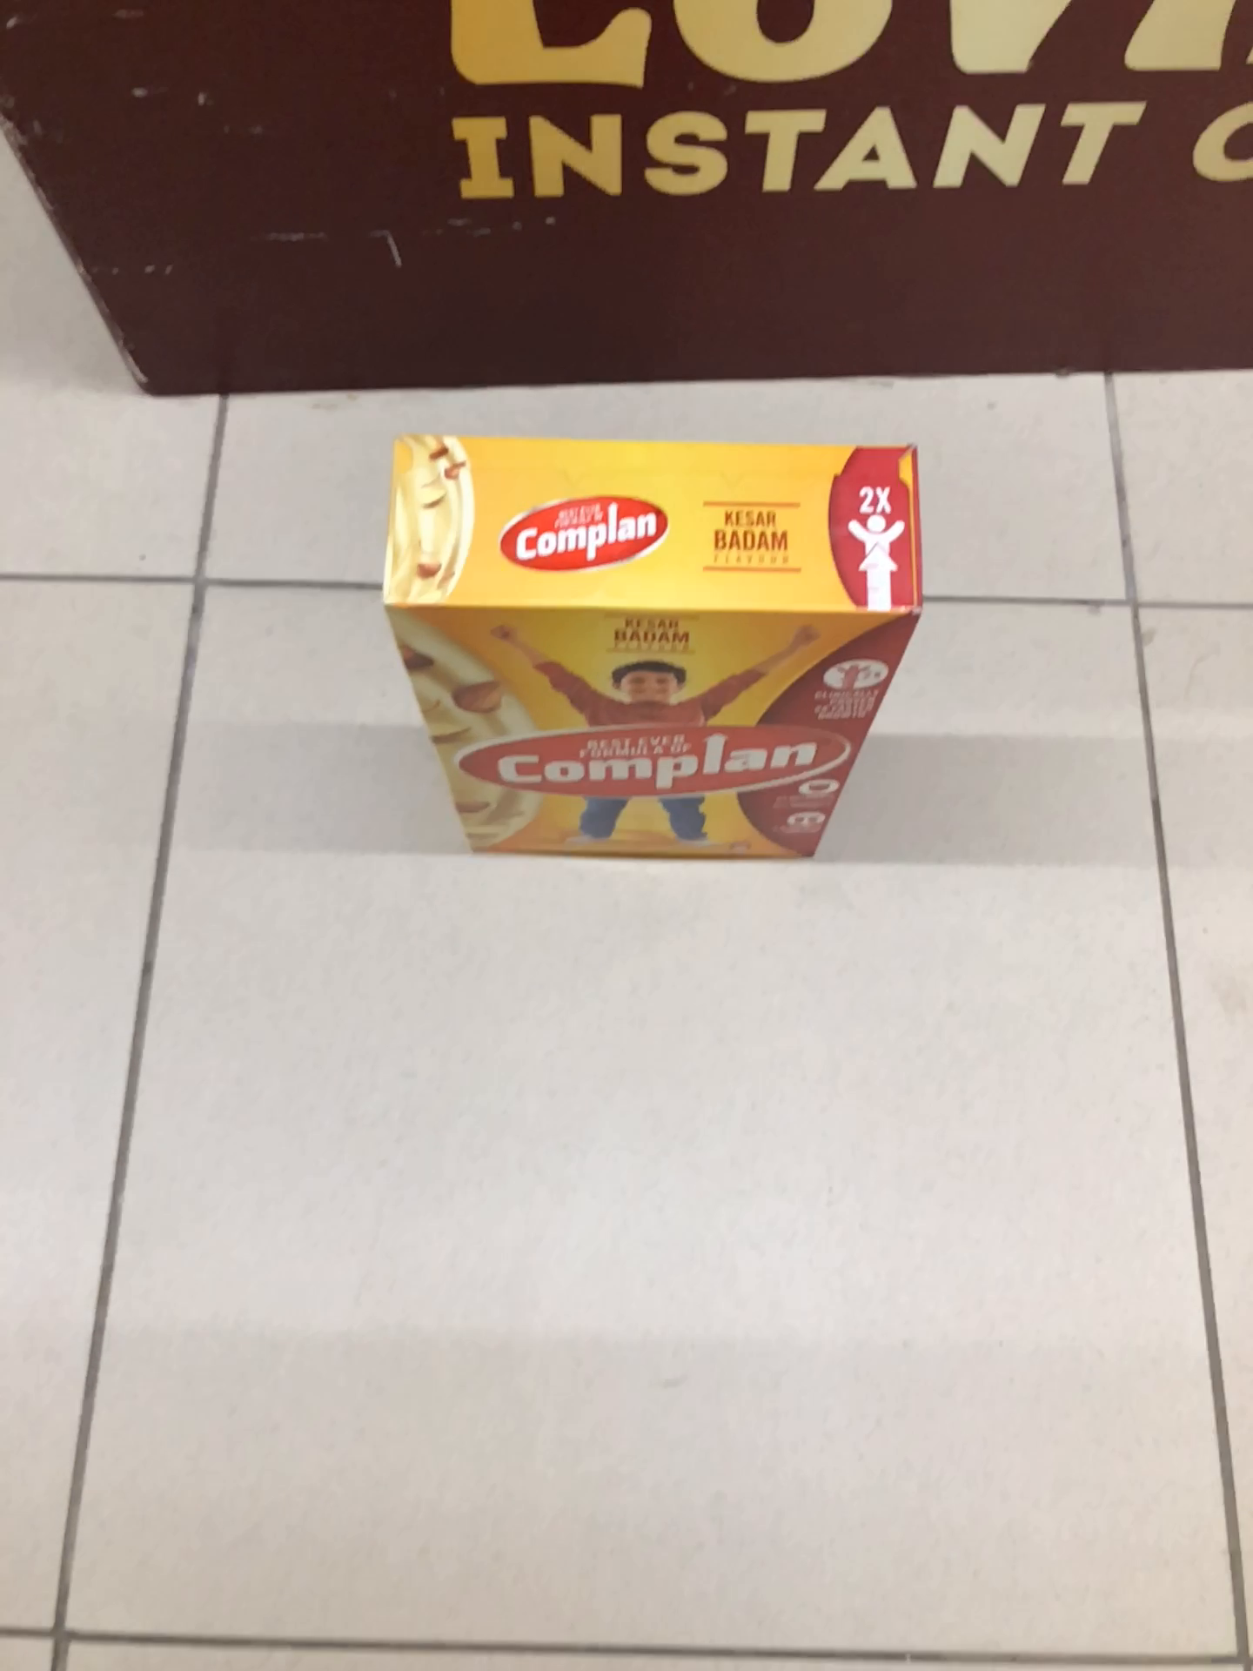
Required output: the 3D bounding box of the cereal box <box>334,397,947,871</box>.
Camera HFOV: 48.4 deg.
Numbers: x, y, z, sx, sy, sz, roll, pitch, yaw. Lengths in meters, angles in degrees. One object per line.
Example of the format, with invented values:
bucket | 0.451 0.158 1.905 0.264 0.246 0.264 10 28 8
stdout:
cereal box | 0.004 -0.050 0.455 0.150 0.219 0.060 1 72 0
